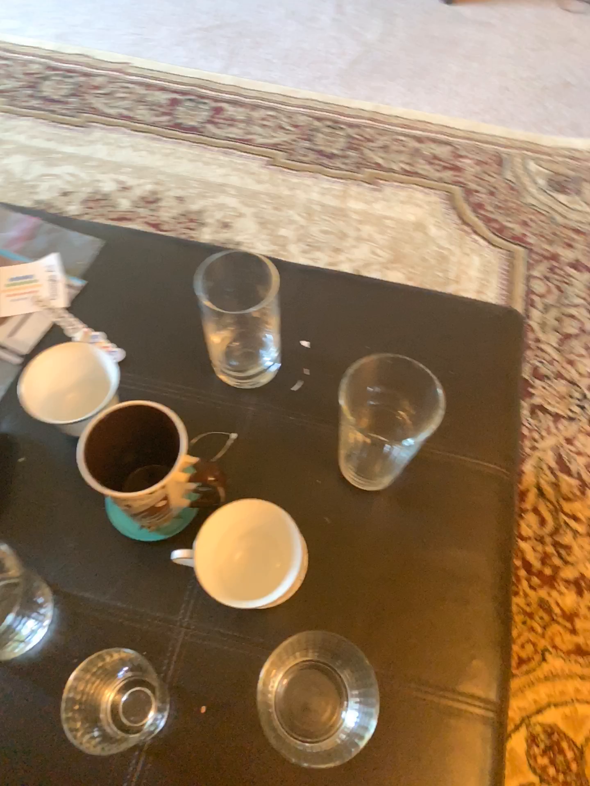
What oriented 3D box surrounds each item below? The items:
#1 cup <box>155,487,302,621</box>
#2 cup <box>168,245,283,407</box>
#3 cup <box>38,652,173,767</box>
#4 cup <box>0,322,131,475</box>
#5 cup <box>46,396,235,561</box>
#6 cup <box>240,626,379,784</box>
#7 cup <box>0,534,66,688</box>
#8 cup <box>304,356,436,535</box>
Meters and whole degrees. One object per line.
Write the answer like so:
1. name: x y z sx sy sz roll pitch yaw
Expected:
1. cup: -0.054 0.143 0.529 0.110 0.070 0.090 5 61 0
2. cup: -0.066 -0.064 0.621 0.090 0.140 0.090 1 61 -3
3. cup: -0.144 0.252 0.478 0.070 0.100 0.070 1 61 -3
4. cup: -0.231 0.006 0.612 0.090 0.080 0.110 -17 63 -12
5. cup: -0.133 0.083 0.559 0.130 0.120 0.090 12 61 3
6. cup: 0.010 0.255 0.493 0.090 0.120 0.090 1 61 -3
7. cup: -0.268 0.186 0.504 0.090 0.120 0.090 1 61 -3
8. cup: 0.066 0.059 0.583 0.090 0.189 0.090 1 61 -3
